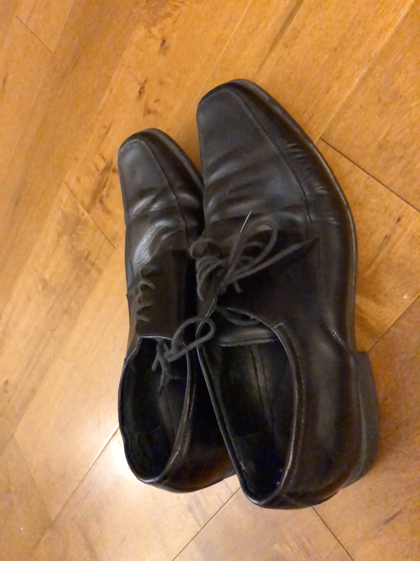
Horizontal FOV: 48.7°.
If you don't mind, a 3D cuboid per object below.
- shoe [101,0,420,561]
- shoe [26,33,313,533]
[{"bbox_3d":[0.040,-0.021,0.296,0.111,0.129,0.310,-21,75,38],"label":"shoe"},{"bbox_3d":[-0.037,0.002,0.361,0.111,0.129,0.310,-21,75,38],"label":"shoe"}]
